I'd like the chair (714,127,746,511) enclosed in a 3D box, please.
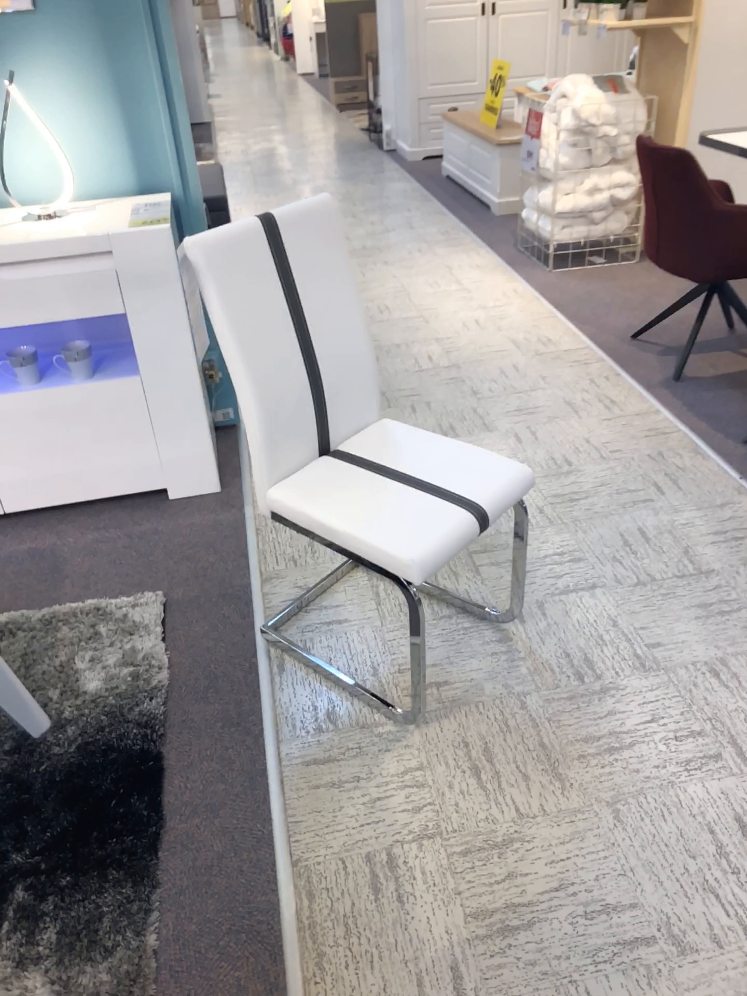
[{"bbox_3d":[1.610,-0.575,2.479,0.691,0.878,0.640,-16,34,-18],"label":"chair"}]

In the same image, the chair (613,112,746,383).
[{"bbox_3d":[1.393,-1.015,3.279,0.570,0.878,0.540,-10,33,-8],"label":"chair"}]

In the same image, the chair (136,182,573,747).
[{"bbox_3d":[-0.009,-0.096,1.623,0.570,0.878,0.489,22,41,36],"label":"chair"}]
